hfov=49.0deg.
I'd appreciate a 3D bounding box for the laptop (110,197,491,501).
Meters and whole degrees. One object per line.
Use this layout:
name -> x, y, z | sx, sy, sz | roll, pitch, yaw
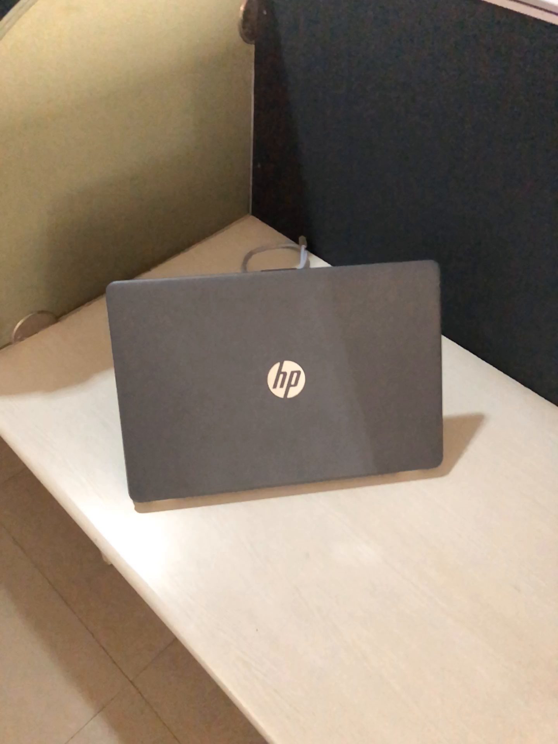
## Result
laptop -> 0.001, -0.033, 0.723 | 0.361, 0.204, 0.248 | -6, 50, -8
